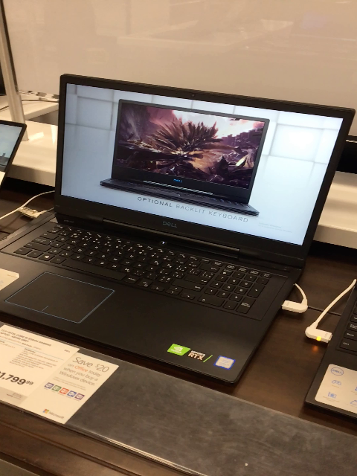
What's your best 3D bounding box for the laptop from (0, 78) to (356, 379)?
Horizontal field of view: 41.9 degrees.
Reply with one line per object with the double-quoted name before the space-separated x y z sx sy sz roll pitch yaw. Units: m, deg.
"laptop" -0.055 -0.046 0.610 0.424 0.225 0.306 15 37 19
